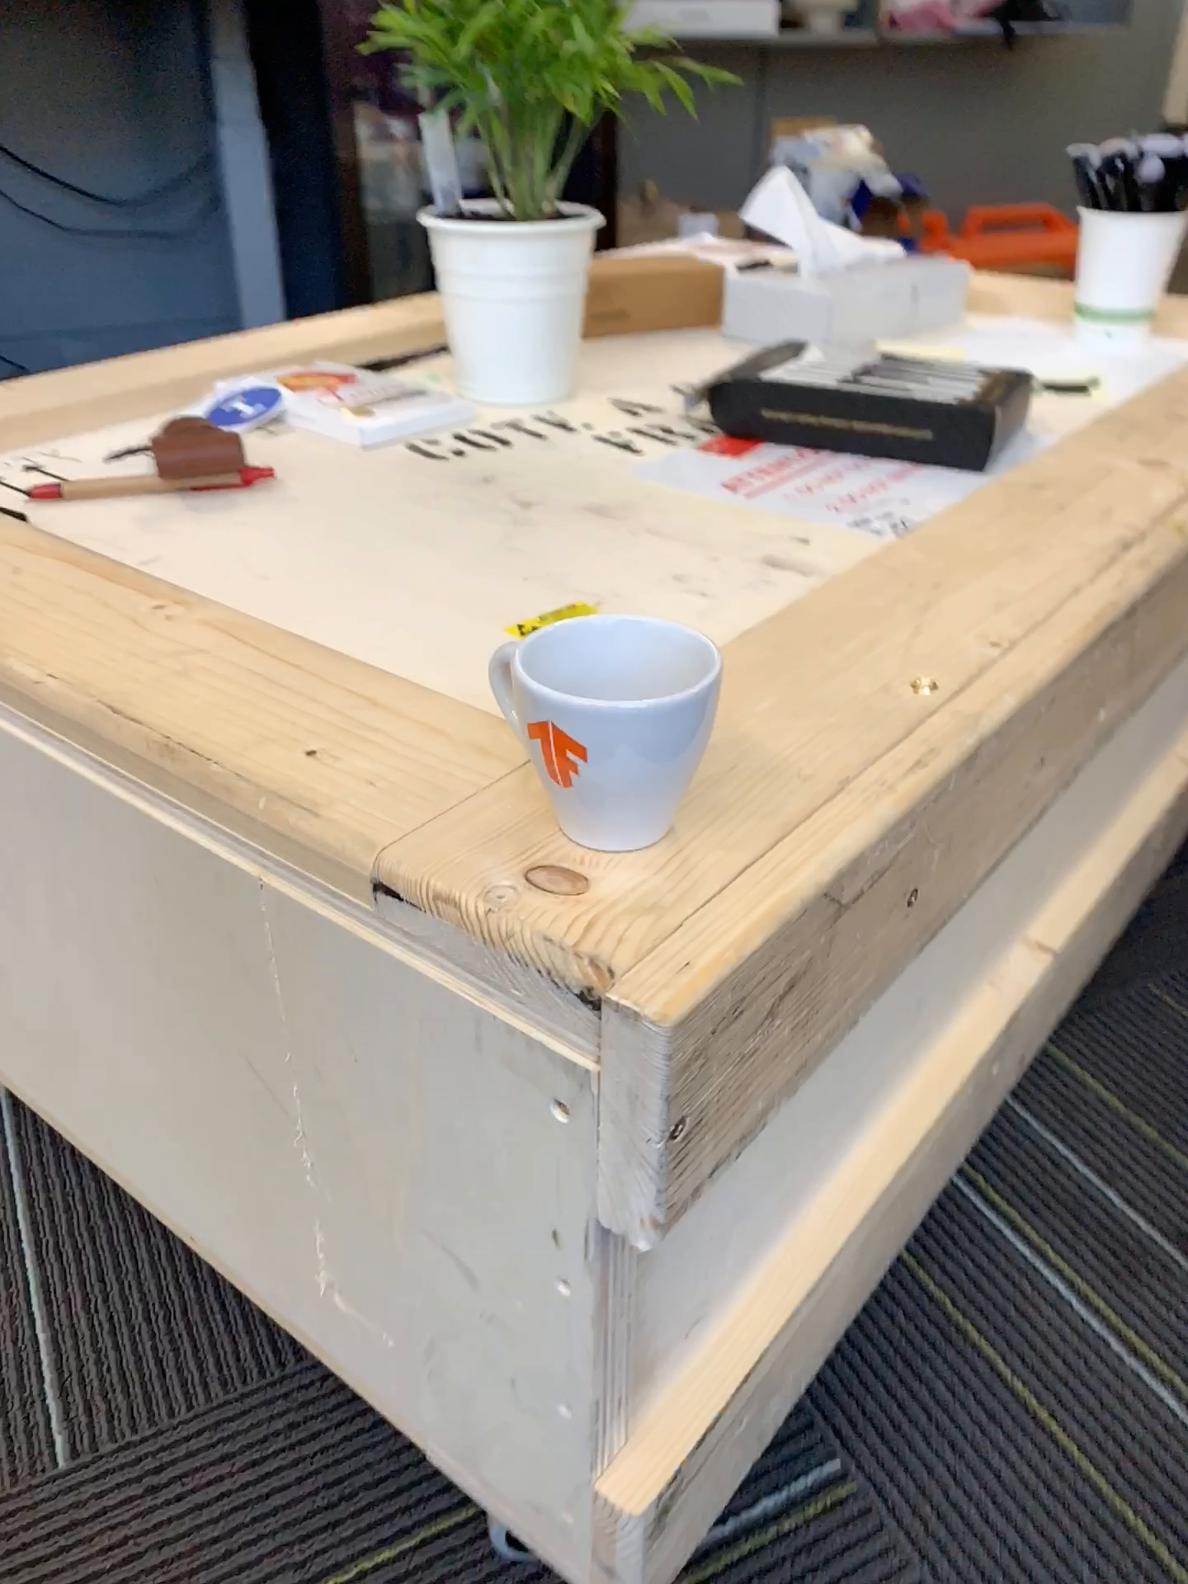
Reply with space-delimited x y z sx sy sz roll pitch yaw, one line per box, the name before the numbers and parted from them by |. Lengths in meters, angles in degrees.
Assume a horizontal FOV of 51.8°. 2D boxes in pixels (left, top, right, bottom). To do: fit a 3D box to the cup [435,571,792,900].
cup | 0.005 -0.022 0.385 0.090 0.060 0.060 25 39 33
